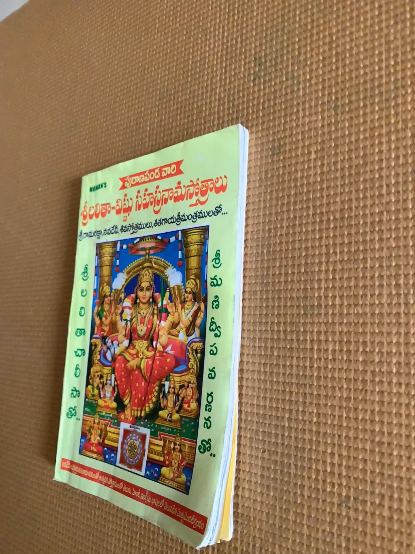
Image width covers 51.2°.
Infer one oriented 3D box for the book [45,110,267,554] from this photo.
[{"bbox_3d":[-0.035,0.025,0.251,0.141,0.020,0.210,-4,79,37],"label":"book"}]
